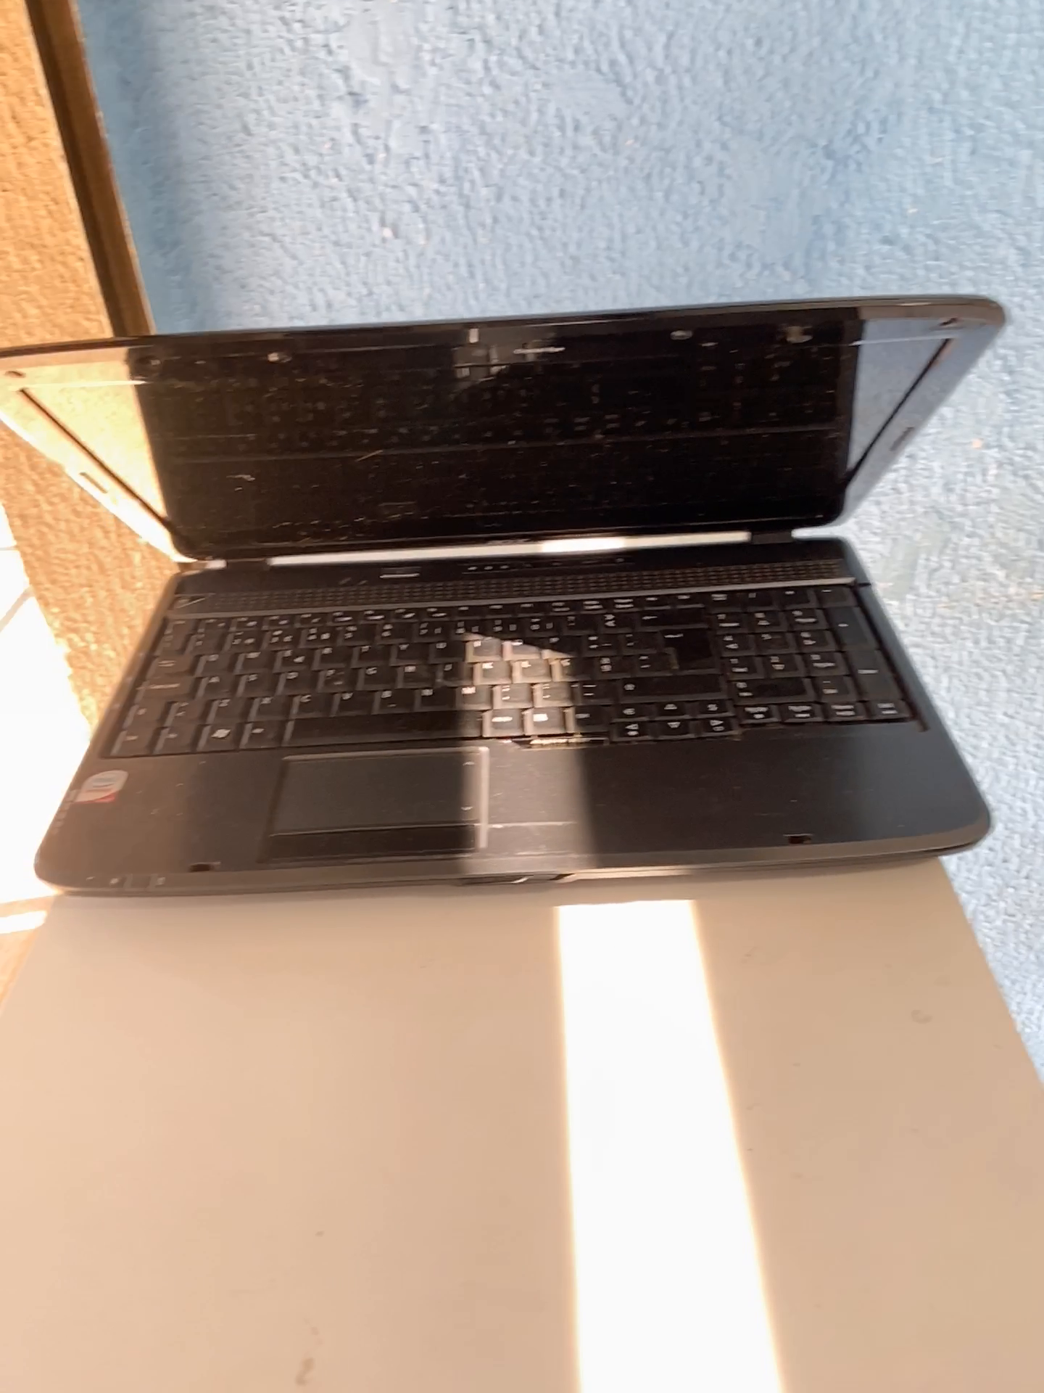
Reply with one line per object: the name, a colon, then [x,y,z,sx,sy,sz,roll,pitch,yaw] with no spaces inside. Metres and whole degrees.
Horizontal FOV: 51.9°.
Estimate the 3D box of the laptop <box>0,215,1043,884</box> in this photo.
laptop: [-0.010,-0.078,0.467,0.378,0.174,0.237,-3,35,0]
